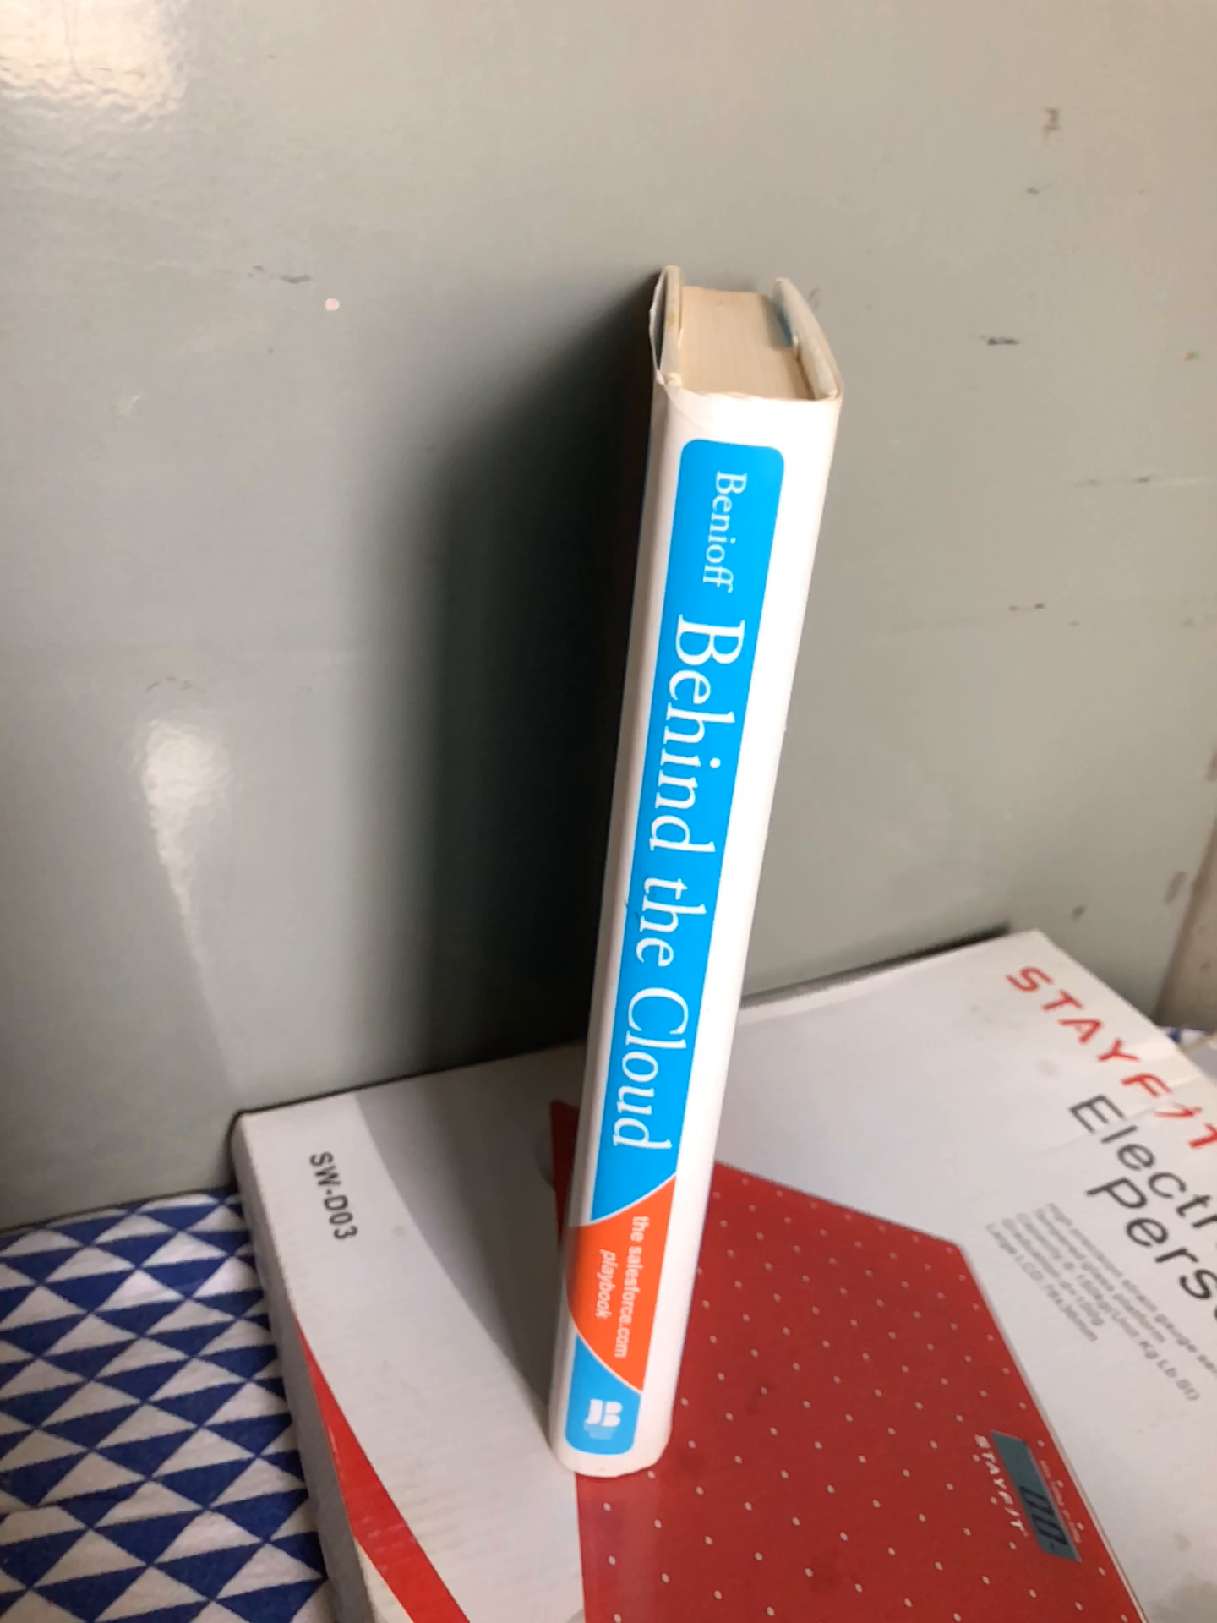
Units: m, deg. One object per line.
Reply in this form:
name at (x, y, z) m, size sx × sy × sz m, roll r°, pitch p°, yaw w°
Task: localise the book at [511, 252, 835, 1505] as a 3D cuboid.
book at (0.012, -0.001, 0.331) m, size 0.040 × 0.239 × 0.191 m, roll 4°, pitch 25°, yaw 2°
